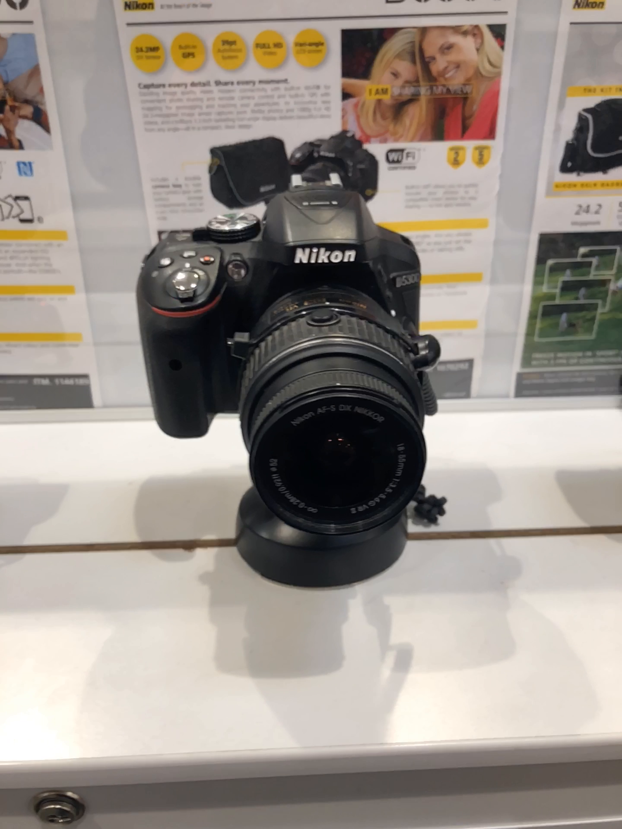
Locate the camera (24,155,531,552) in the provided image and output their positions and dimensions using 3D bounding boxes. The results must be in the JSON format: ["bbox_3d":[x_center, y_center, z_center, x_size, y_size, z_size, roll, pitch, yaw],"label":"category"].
[{"bbox_3d":[-0.013,-0.036,0.266,0.130,0.089,0.151,-2,31,-3],"label":"camera"}]
